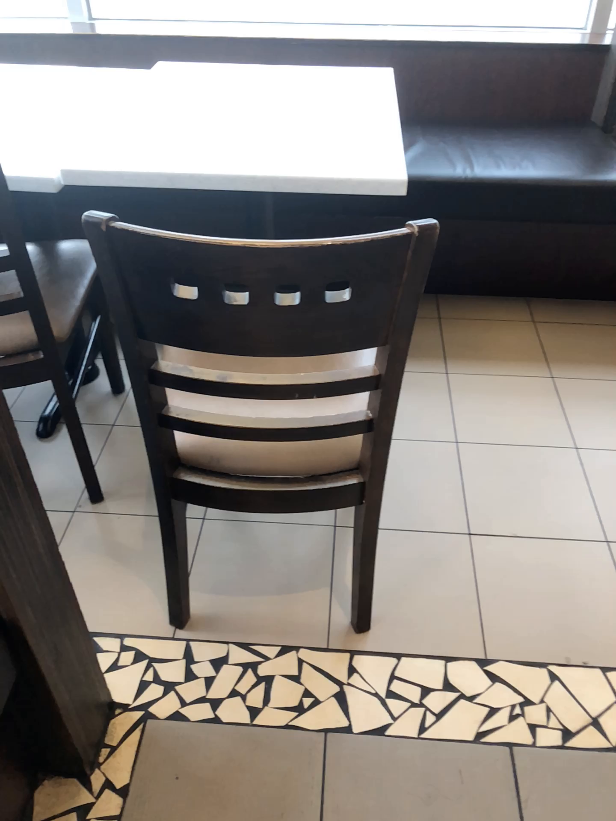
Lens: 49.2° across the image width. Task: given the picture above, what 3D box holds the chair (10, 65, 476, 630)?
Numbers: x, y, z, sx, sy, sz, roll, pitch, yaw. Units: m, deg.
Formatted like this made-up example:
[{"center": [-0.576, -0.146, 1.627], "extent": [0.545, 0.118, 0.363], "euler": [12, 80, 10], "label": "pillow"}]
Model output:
[{"center": [-0.050, -0.102, 1.123], "extent": [0.470, 0.715, 0.574], "euler": [3, 41, 3], "label": "chair"}]
